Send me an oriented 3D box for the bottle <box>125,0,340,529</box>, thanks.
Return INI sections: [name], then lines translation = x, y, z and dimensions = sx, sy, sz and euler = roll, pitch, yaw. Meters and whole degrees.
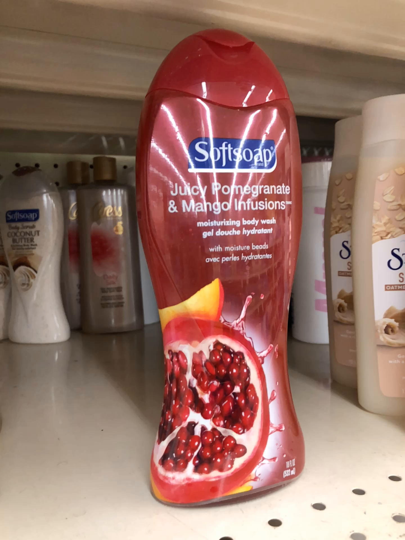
[bottle]
translation = 0.013, -0.001, 0.234
dimensions = 0.090, 0.230, 0.060
euler = -3, 7, -14
